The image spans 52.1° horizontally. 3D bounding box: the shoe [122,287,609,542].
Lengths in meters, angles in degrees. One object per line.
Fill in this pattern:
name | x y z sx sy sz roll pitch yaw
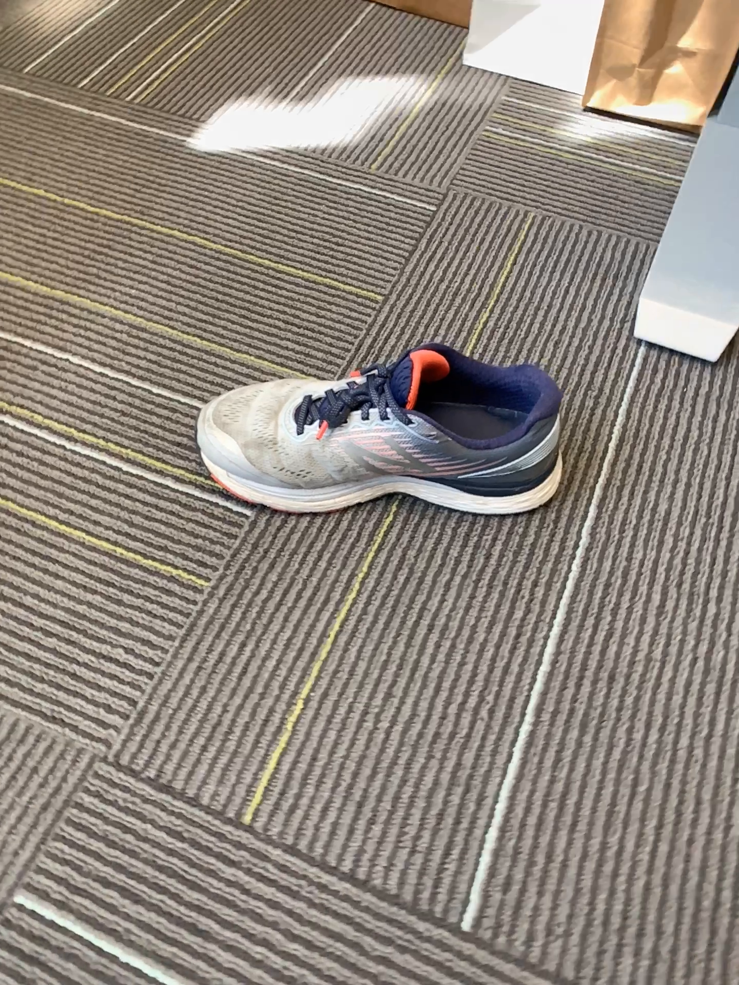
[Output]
shoe | 0.000 -0.054 0.539 0.300 0.110 0.110 5 57 2
